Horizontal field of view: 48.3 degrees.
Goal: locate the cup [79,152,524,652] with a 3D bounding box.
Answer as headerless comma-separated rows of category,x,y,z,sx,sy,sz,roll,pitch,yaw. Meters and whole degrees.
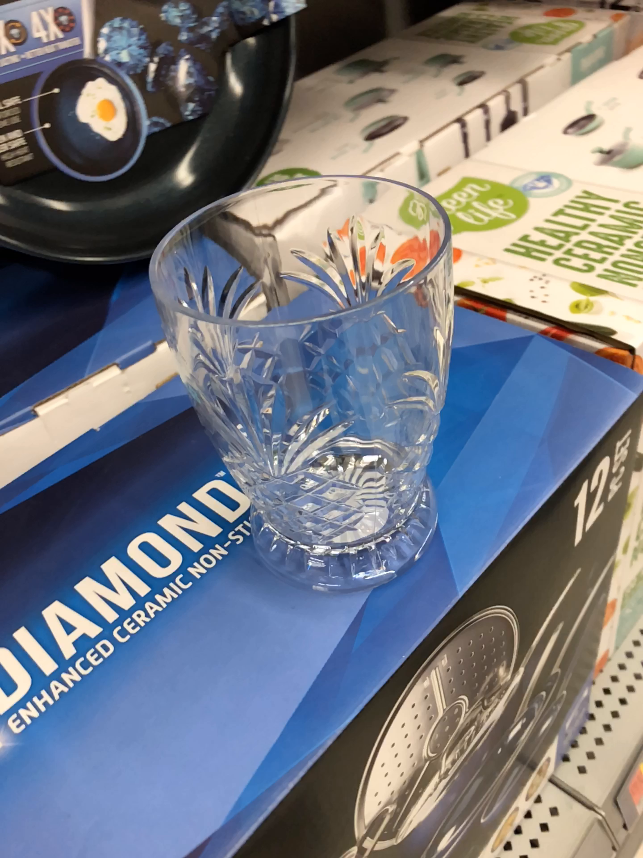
cup,0.002,-0.013,0.239,0.088,0.113,0.092,-5,41,4
